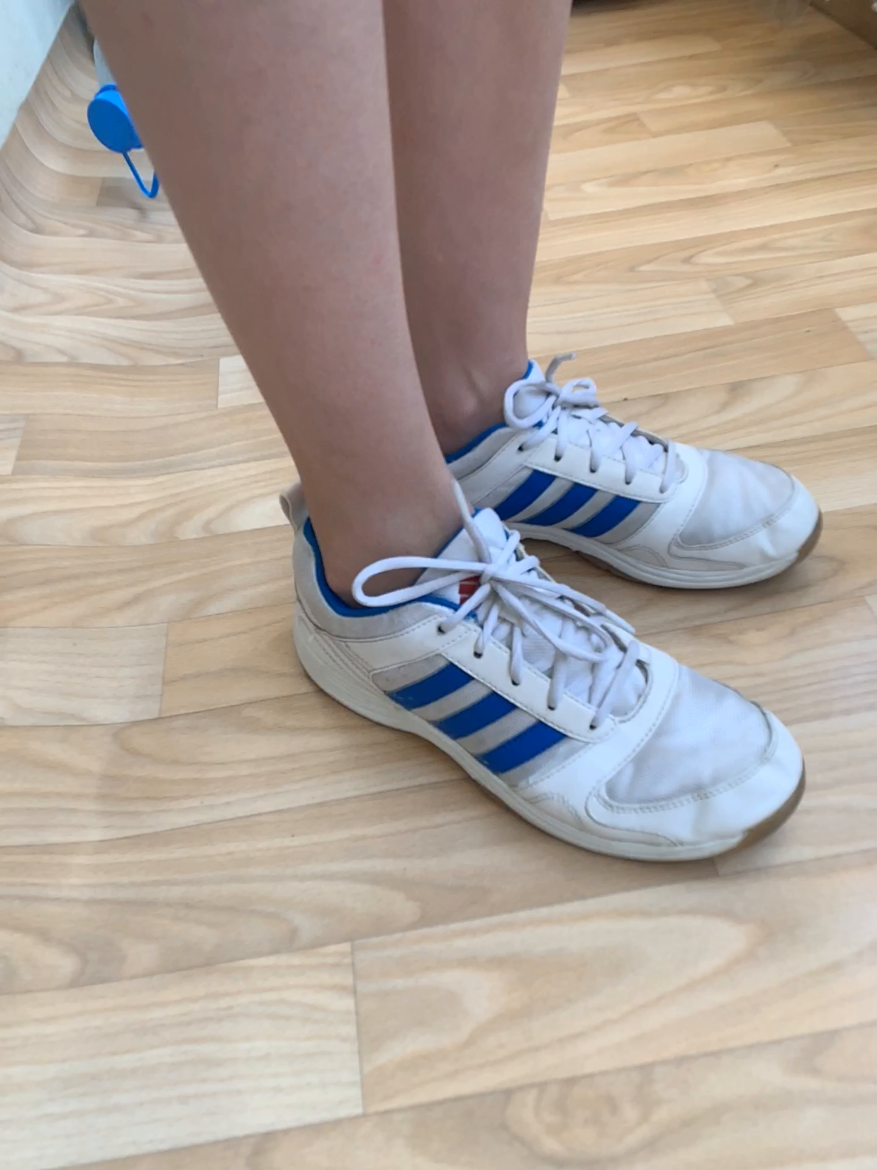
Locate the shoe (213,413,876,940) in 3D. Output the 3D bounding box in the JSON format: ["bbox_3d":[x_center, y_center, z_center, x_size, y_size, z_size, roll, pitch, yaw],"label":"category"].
[{"bbox_3d":[0.040,0.031,0.414,0.261,0.119,0.100,23,54,26],"label":"shoe"}]

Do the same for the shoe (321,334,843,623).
[{"bbox_3d":[0.080,-0.067,0.507,0.260,0.090,0.100,9,49,16],"label":"shoe"}]
